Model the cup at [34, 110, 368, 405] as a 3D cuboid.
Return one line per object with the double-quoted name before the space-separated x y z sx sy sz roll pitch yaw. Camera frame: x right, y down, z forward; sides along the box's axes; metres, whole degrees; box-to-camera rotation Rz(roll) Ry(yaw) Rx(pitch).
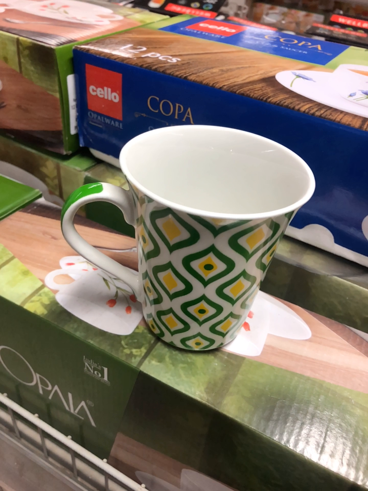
"cup" -0.001 0.004 0.206 0.120 0.109 0.080 -6 42 -13
